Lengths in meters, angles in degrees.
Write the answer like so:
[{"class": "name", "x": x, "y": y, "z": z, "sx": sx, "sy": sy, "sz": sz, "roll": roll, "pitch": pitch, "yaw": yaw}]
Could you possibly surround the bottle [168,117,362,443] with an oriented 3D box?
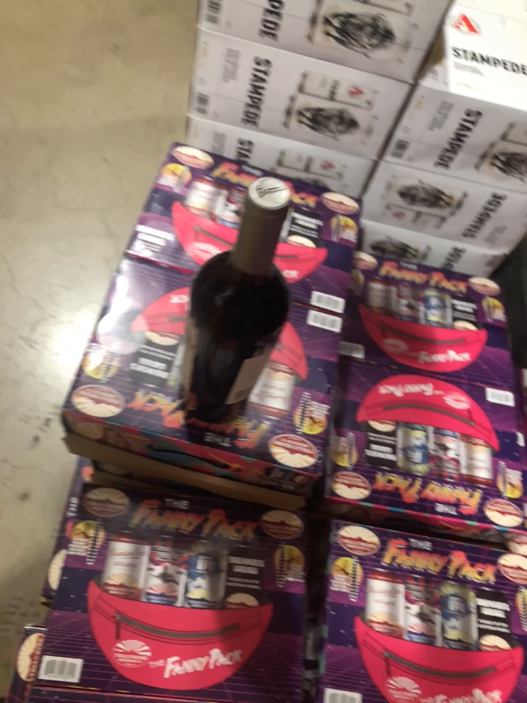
[{"class": "bottle", "x": -0.017, "y": -0.030, "z": 0.479, "sx": 0.080, "sy": 0.299, "sz": 0.080, "roll": 5, "pitch": 60, "yaw": -9}]
